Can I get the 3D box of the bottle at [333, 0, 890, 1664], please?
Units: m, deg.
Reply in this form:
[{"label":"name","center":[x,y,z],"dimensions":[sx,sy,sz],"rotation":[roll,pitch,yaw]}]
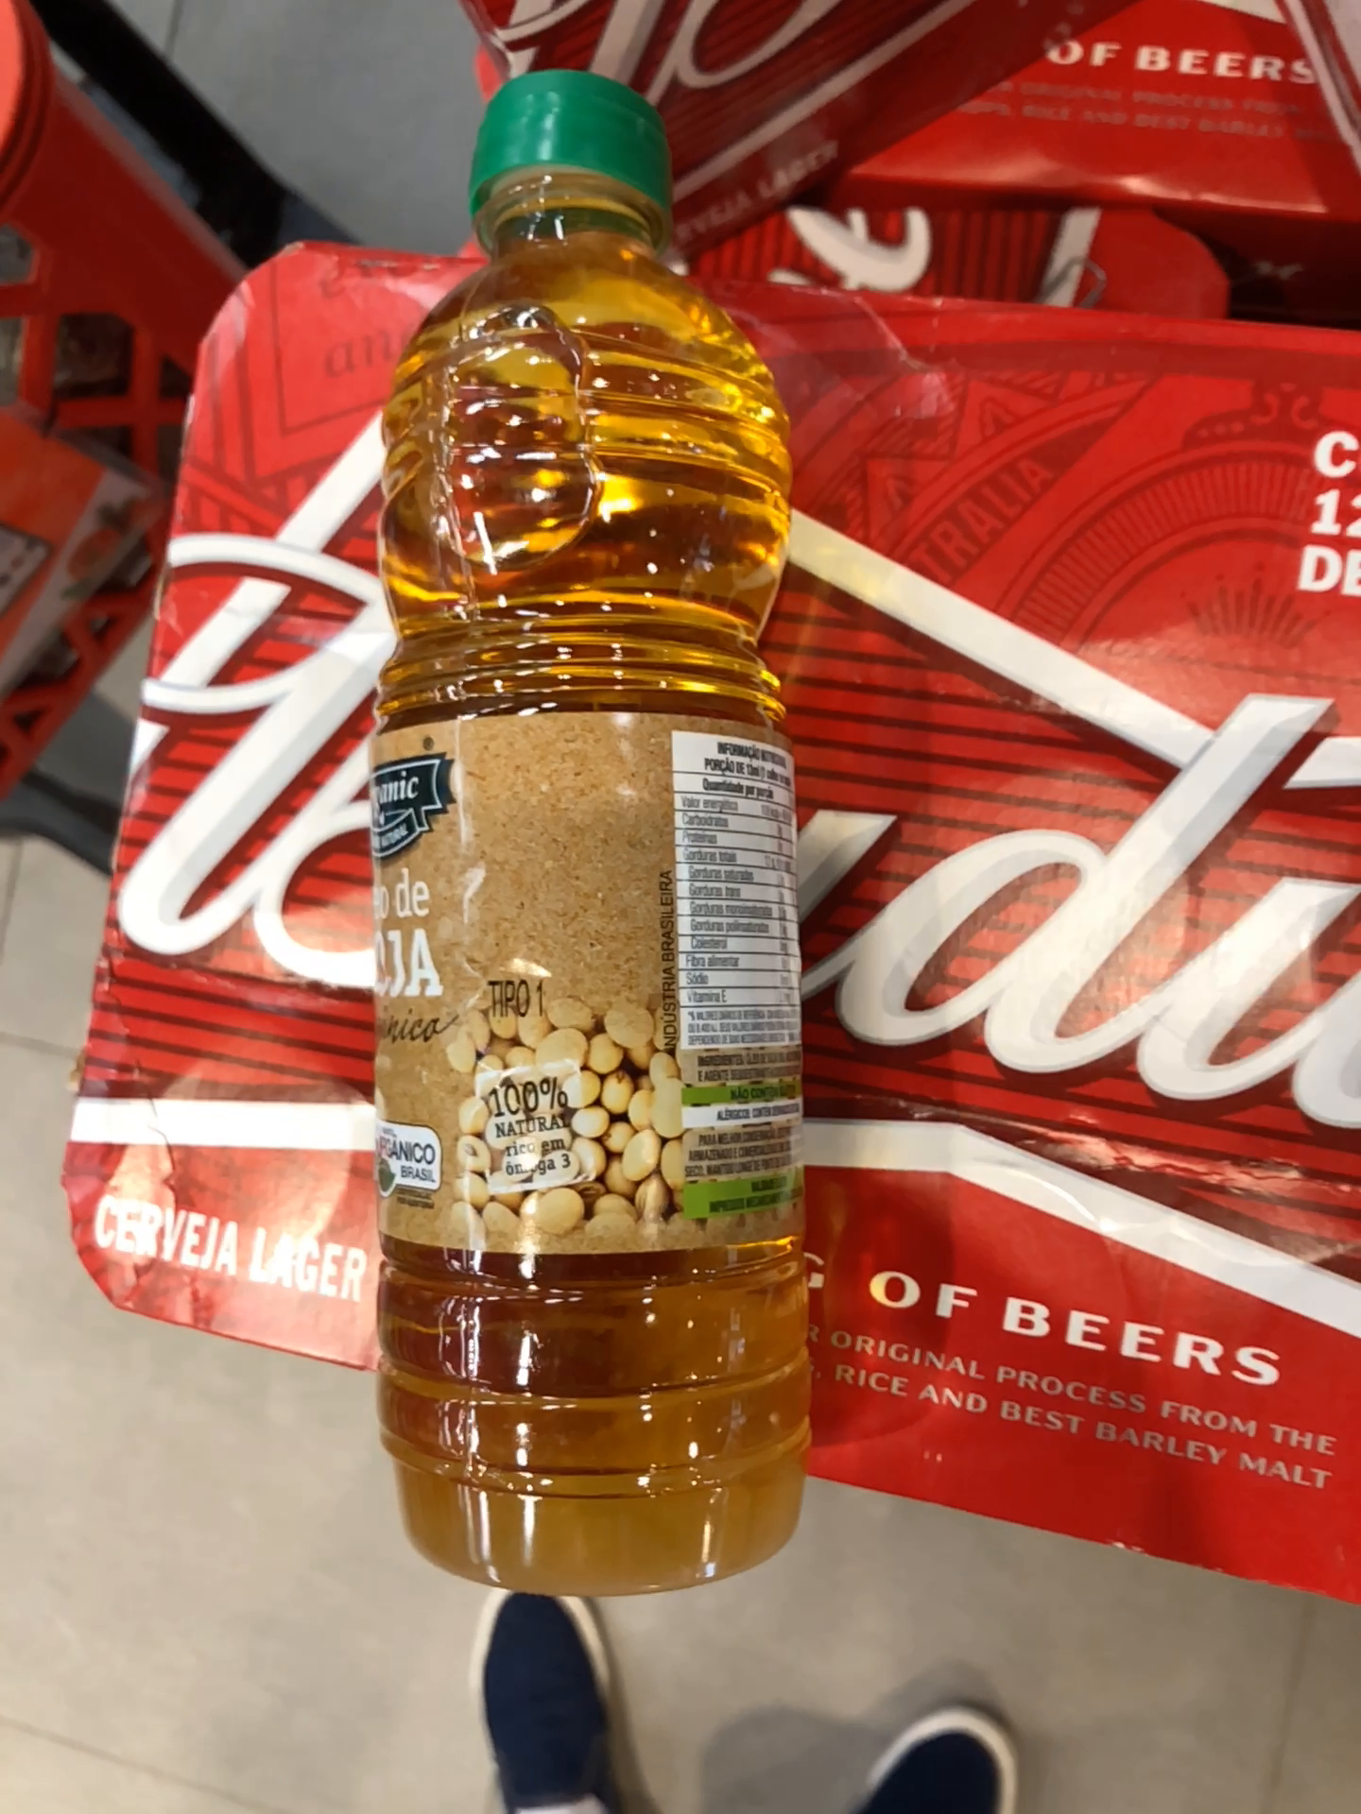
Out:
[{"label":"bottle","center":[-0.014,-0.029,0.225],"dimensions":[0.060,0.060,0.240],"rotation":[0,87,-26]}]
